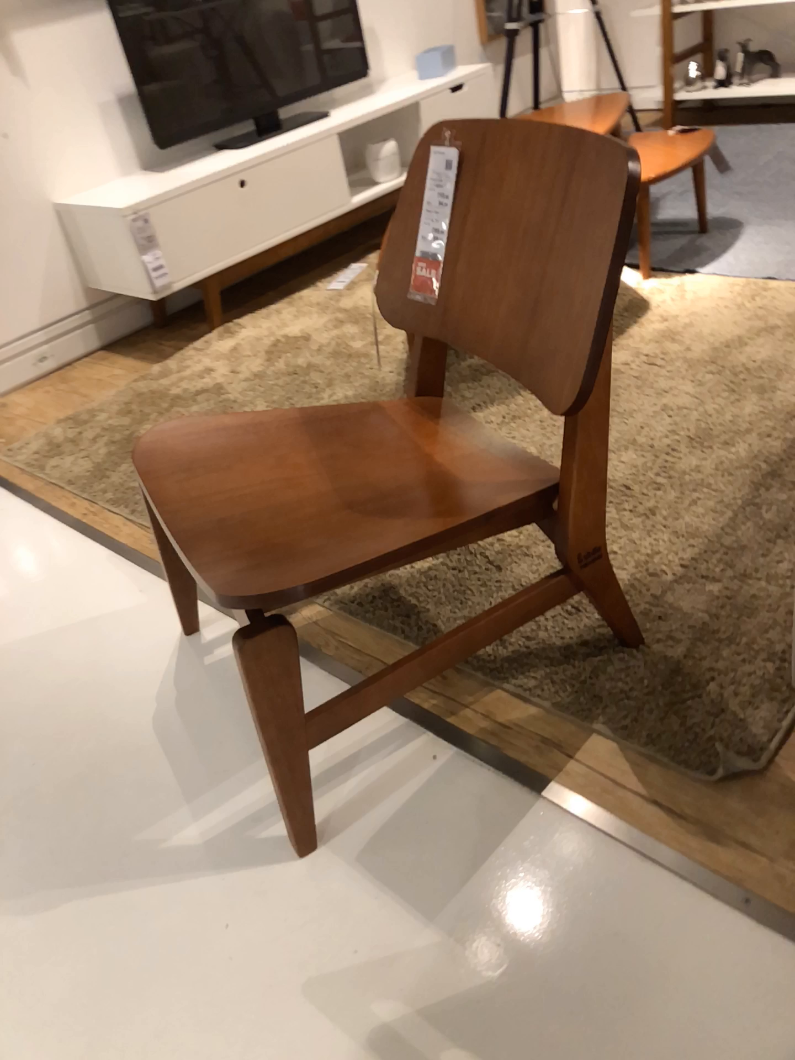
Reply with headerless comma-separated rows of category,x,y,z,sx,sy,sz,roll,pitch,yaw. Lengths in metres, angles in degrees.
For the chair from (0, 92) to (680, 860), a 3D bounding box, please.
chair,-0.080,-0.132,1.159,0.631,0.655,0.584,-24,35,-16
